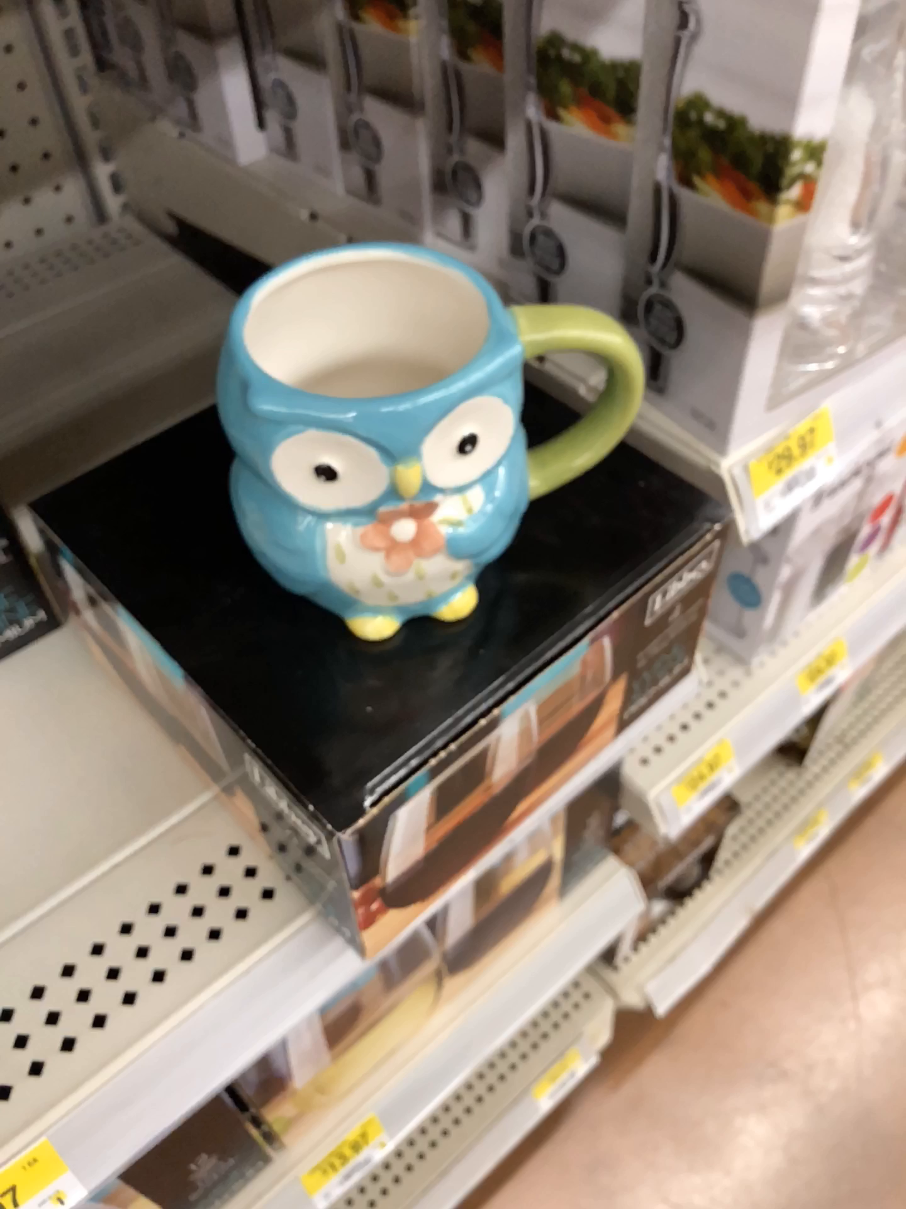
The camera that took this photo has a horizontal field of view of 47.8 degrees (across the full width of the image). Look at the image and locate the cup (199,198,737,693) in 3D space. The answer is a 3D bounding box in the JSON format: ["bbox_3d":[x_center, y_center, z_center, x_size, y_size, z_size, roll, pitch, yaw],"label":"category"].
[{"bbox_3d":[0.001,-0.050,0.334,0.140,0.110,0.090,-8,50,-3],"label":"cup"}]
